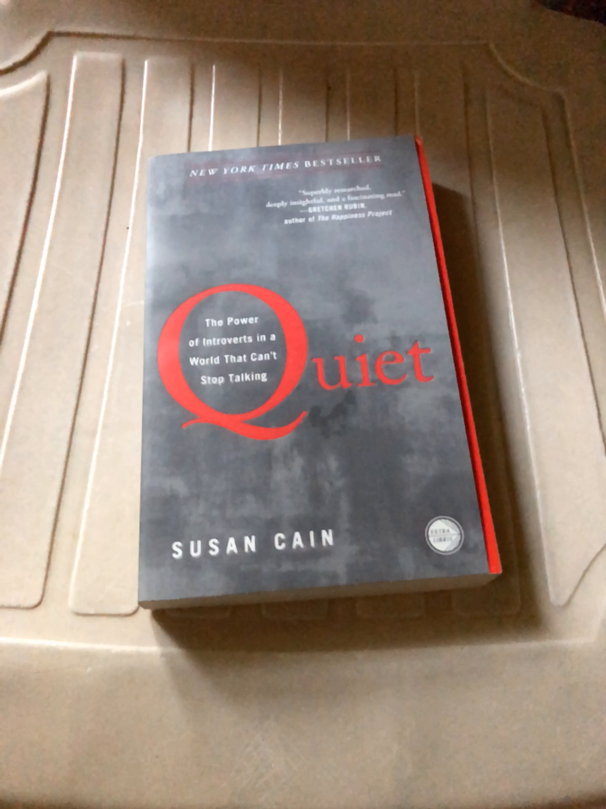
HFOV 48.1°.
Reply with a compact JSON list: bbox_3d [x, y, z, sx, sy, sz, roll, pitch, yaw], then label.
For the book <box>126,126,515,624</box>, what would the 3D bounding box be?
[{"bbox_3d":[-0.001,-0.021,0.277,0.130,0.030,0.200,-4,68,-2],"label":"book"}]
